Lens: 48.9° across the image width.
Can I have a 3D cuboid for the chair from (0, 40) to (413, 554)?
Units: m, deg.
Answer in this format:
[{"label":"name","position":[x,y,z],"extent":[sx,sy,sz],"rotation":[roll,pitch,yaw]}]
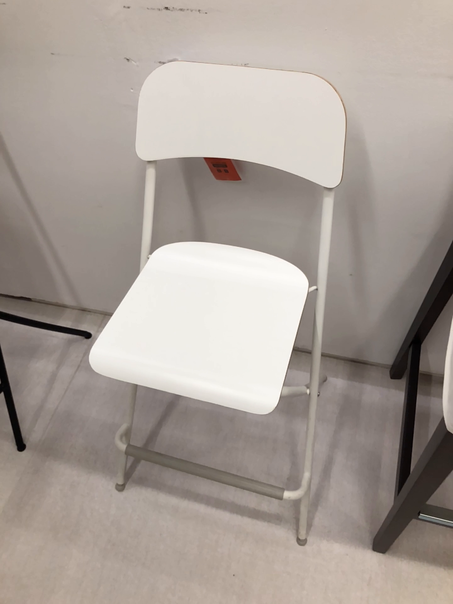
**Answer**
[{"label":"chair","position":[-0.016,0.065,0.989],"extent":[0.530,0.895,0.482],"rotation":[10,53,13]}]
